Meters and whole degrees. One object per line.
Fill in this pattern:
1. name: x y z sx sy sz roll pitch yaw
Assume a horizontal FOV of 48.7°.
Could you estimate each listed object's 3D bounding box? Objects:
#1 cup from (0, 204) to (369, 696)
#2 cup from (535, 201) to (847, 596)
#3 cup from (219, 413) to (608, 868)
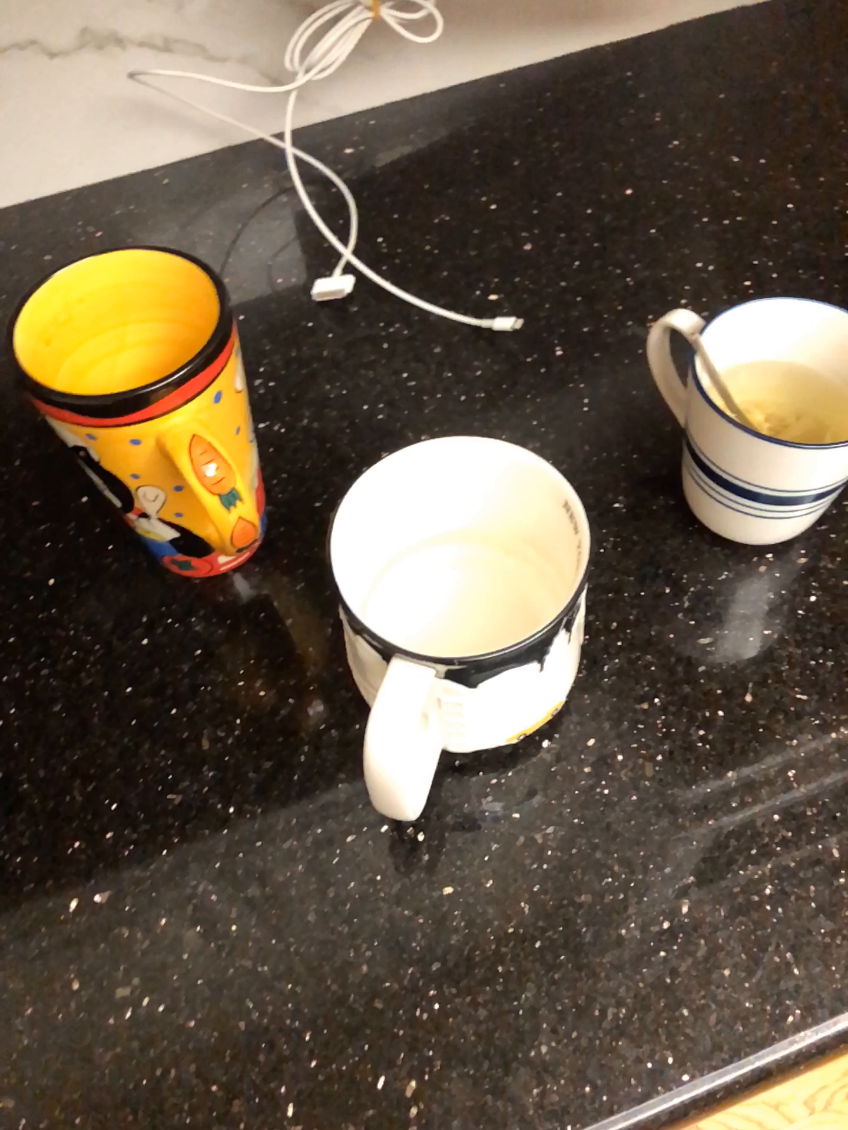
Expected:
1. cup: -0.108 -0.047 0.402 0.090 0.130 0.140 -33 60 -17
2. cup: 0.130 -0.076 0.418 0.090 0.090 0.130 -40 63 -20
3. cup: 0.004 0.028 0.380 0.110 0.090 0.140 11 58 11
